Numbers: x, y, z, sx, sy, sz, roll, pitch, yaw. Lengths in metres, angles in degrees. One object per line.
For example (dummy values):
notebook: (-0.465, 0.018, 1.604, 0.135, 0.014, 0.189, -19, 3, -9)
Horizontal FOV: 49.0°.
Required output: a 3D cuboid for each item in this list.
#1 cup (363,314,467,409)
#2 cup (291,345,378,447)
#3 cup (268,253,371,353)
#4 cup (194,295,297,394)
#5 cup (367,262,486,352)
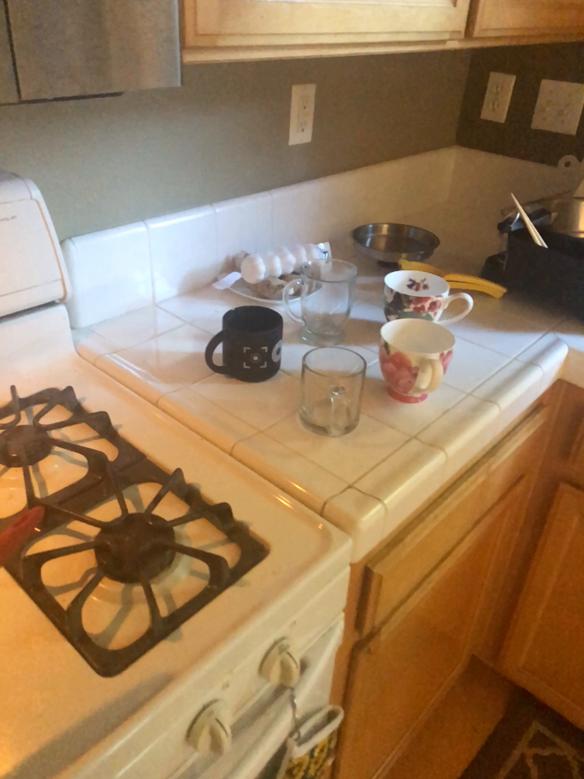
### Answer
cup: (0.160, -0.040, 0.862, 0.100, 0.069, 0.131, 0, 33, -6)
cup: (0.051, 0.006, 0.837, 0.090, 0.079, 0.121, 0, 33, -7)
cup: (0.040, -0.138, 1.005, 0.120, 0.109, 0.101, -11, 36, -22)
cup: (-0.063, -0.064, 0.867, 0.111, 0.079, 0.080, -25, 42, -37)
cup: (0.222, -0.140, 1.064, 0.160, 0.079, 0.101, 19, 36, 22)
